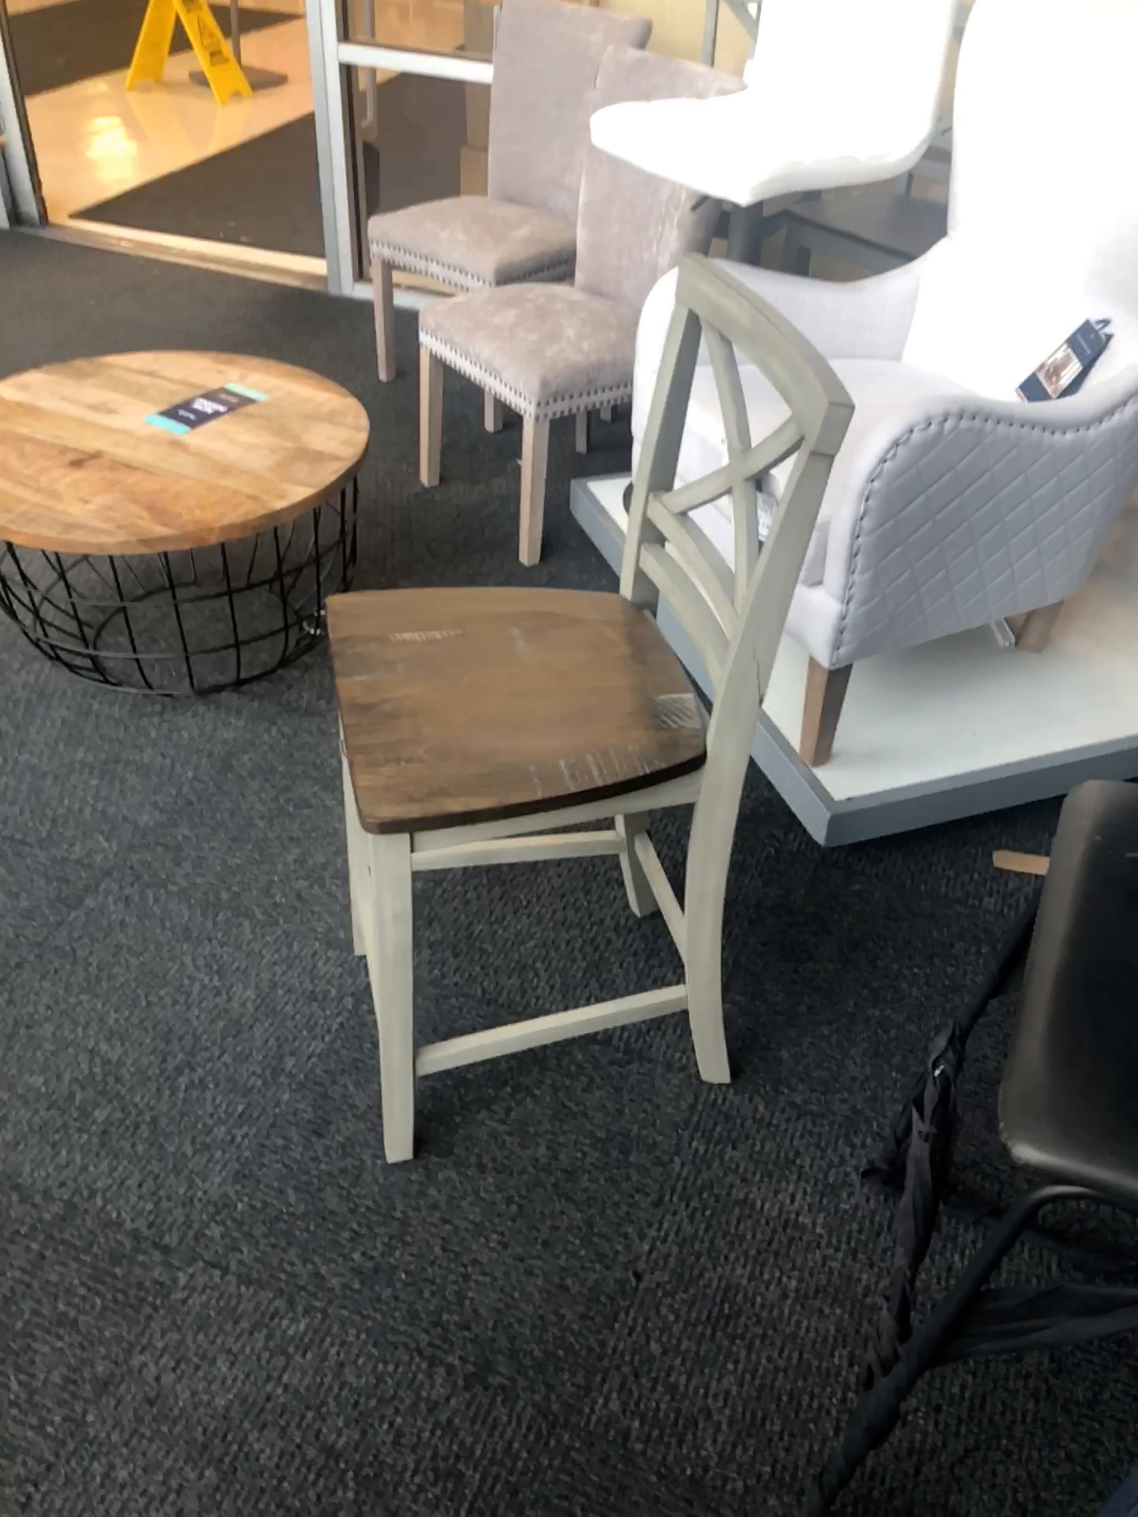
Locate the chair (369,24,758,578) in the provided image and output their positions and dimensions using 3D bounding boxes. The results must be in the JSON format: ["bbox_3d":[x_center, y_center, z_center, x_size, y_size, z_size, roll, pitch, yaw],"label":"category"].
[{"bbox_3d":[-0.030,-0.992,2.698,0.576,0.944,0.491,-24,46,-30],"label":"chair"}]

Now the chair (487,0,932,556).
[{"bbox_3d":[0.167,-0.862,1.994,0.485,0.915,0.381,-15,42,-21],"label":"chair"}]

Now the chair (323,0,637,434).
[{"bbox_3d":[-0.230,-1.480,3.332,0.510,0.944,0.576,30,46,29],"label":"chair"}]

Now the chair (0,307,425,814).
[{"bbox_3d":[-0.693,-0.379,2.179,0.686,0.537,0.521,-26,47,-31],"label":"chair"}]

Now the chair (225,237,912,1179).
[{"bbox_3d":[-0.052,-0.035,1.436,0.535,0.934,0.472,-7,40,-12],"label":"chair"}]

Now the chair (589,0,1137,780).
[{"bbox_3d":[0.524,-0.649,1.920,0.705,1.014,0.692,-15,42,-21],"label":"chair"}]

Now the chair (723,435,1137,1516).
[{"bbox_3d":[0.504,0.320,1.043,0.535,0.934,0.542,13,40,13],"label":"chair"}]
